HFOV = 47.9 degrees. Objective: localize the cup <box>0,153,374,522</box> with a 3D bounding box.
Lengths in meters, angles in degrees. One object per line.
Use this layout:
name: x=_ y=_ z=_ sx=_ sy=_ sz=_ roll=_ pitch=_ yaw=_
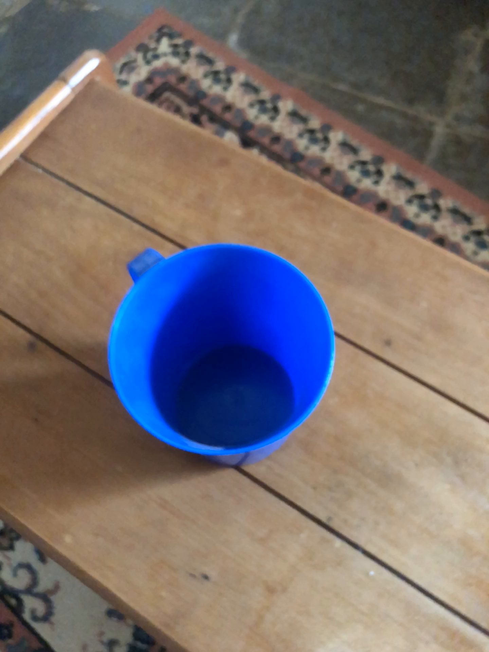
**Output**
cup: x=-0.025 y=0.011 z=0.271 sx=0.100 sy=0.100 sz=0.120 roll=-40 pitch=72 yaw=-14
